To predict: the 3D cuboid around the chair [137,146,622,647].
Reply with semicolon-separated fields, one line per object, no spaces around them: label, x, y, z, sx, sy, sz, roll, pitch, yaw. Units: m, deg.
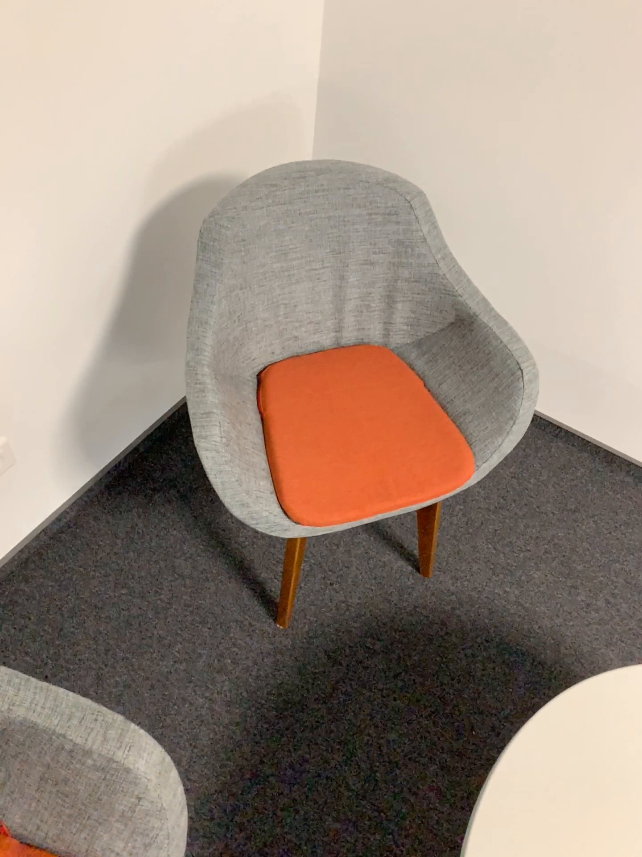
chair;0.036;-0.031;1.362;0.631;0.836;0.502;-13;54;-16
